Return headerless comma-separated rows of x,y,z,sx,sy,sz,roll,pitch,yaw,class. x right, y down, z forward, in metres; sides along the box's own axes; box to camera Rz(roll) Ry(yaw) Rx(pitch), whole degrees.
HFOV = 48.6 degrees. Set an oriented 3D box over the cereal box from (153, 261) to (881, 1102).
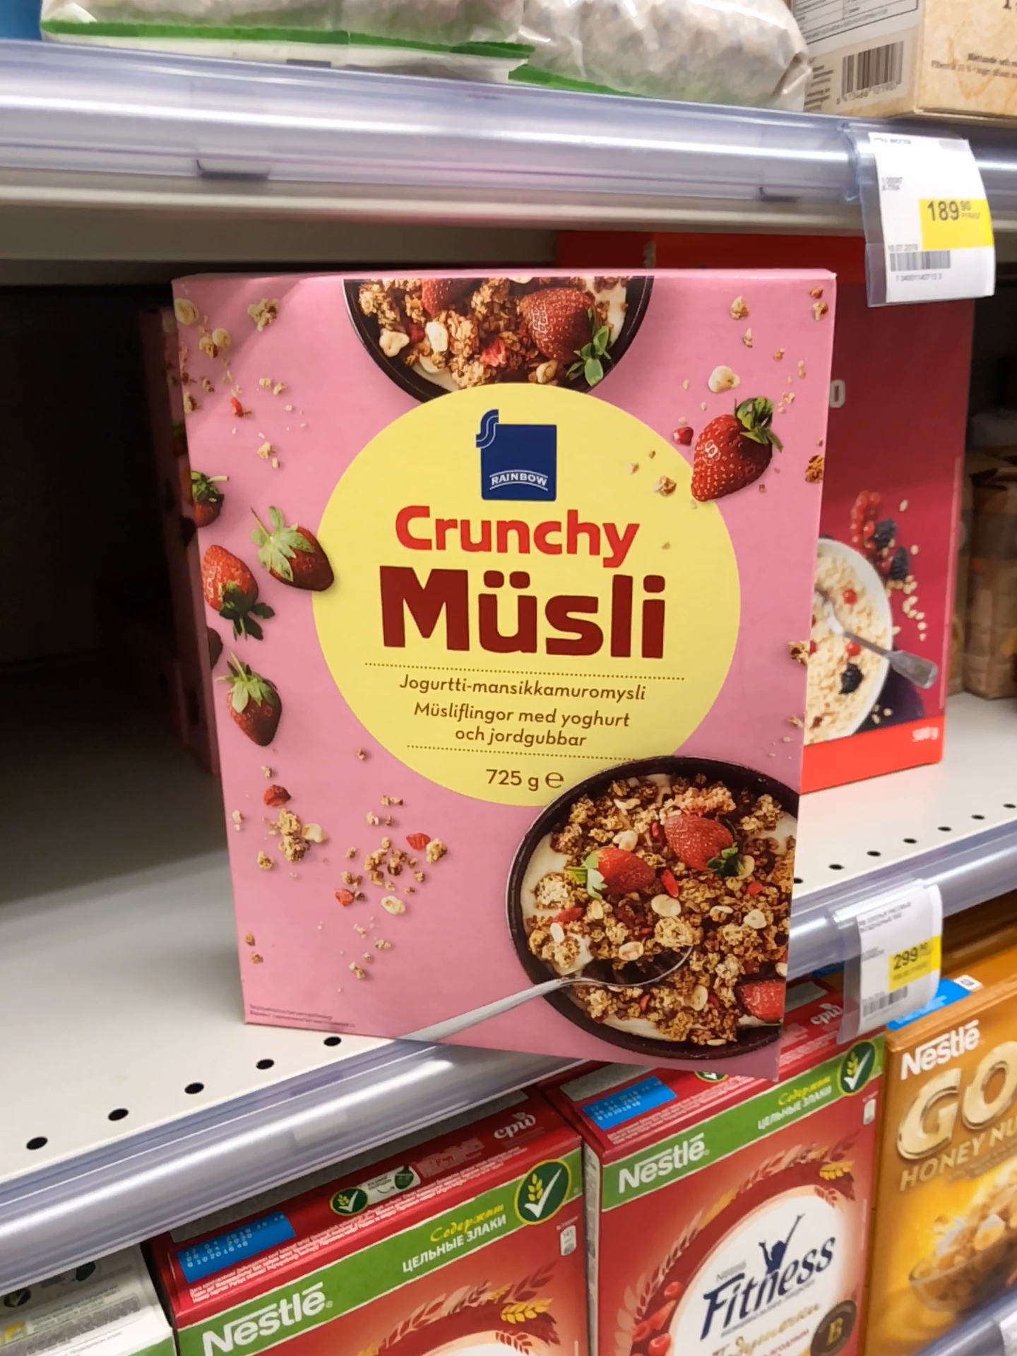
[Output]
0.003,0.001,0.374,0.200,0.259,0.060,3,19,10,cereal box
